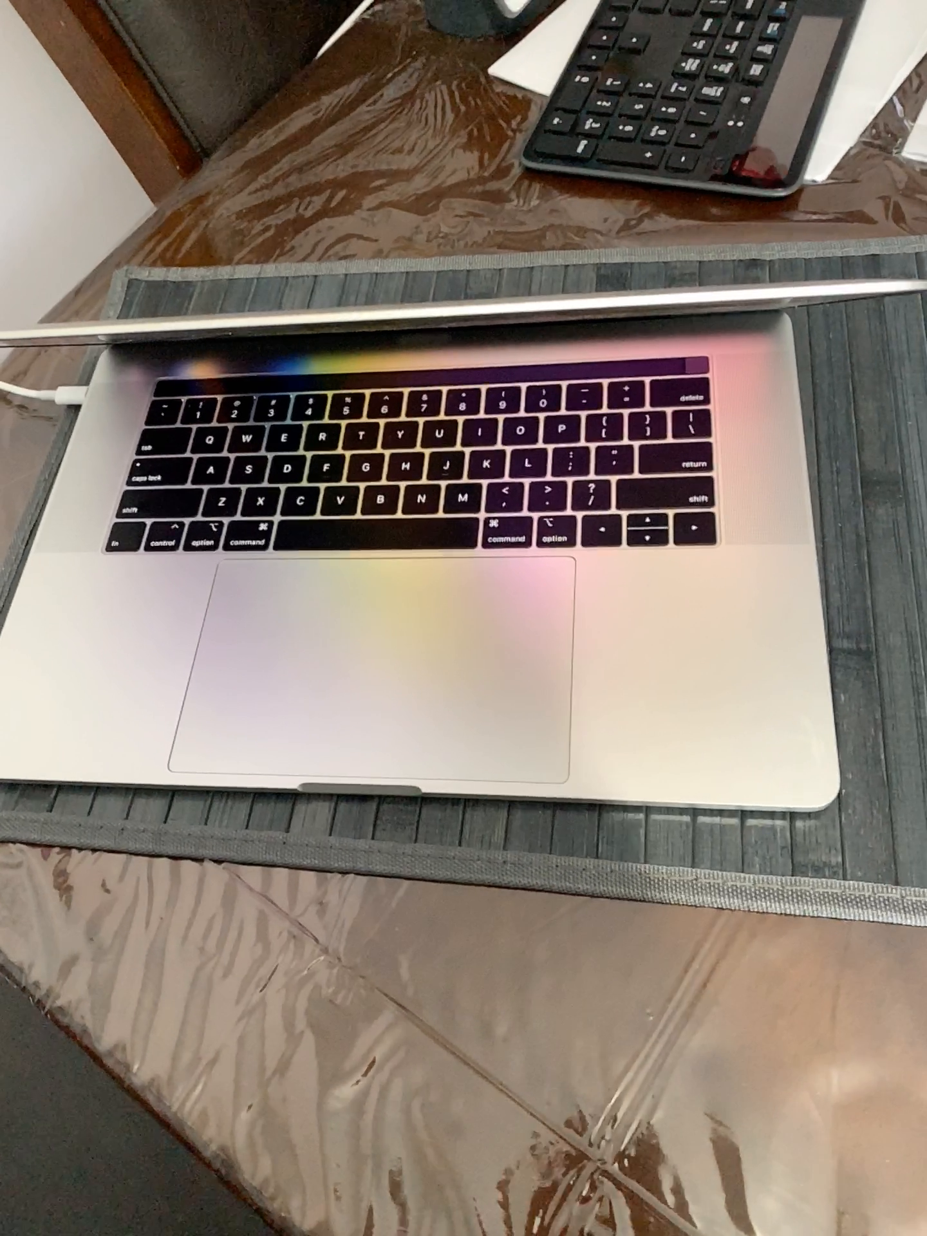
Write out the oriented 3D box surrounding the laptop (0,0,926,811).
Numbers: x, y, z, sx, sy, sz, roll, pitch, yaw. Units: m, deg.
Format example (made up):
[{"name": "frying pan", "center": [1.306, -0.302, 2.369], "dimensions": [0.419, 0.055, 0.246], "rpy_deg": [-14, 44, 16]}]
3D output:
[{"name": "laptop", "center": [-0.042, -0.078, 0.343], "dimensions": [0.342, 0.166, 0.233], "rpy_deg": [0, 62, 11]}]
